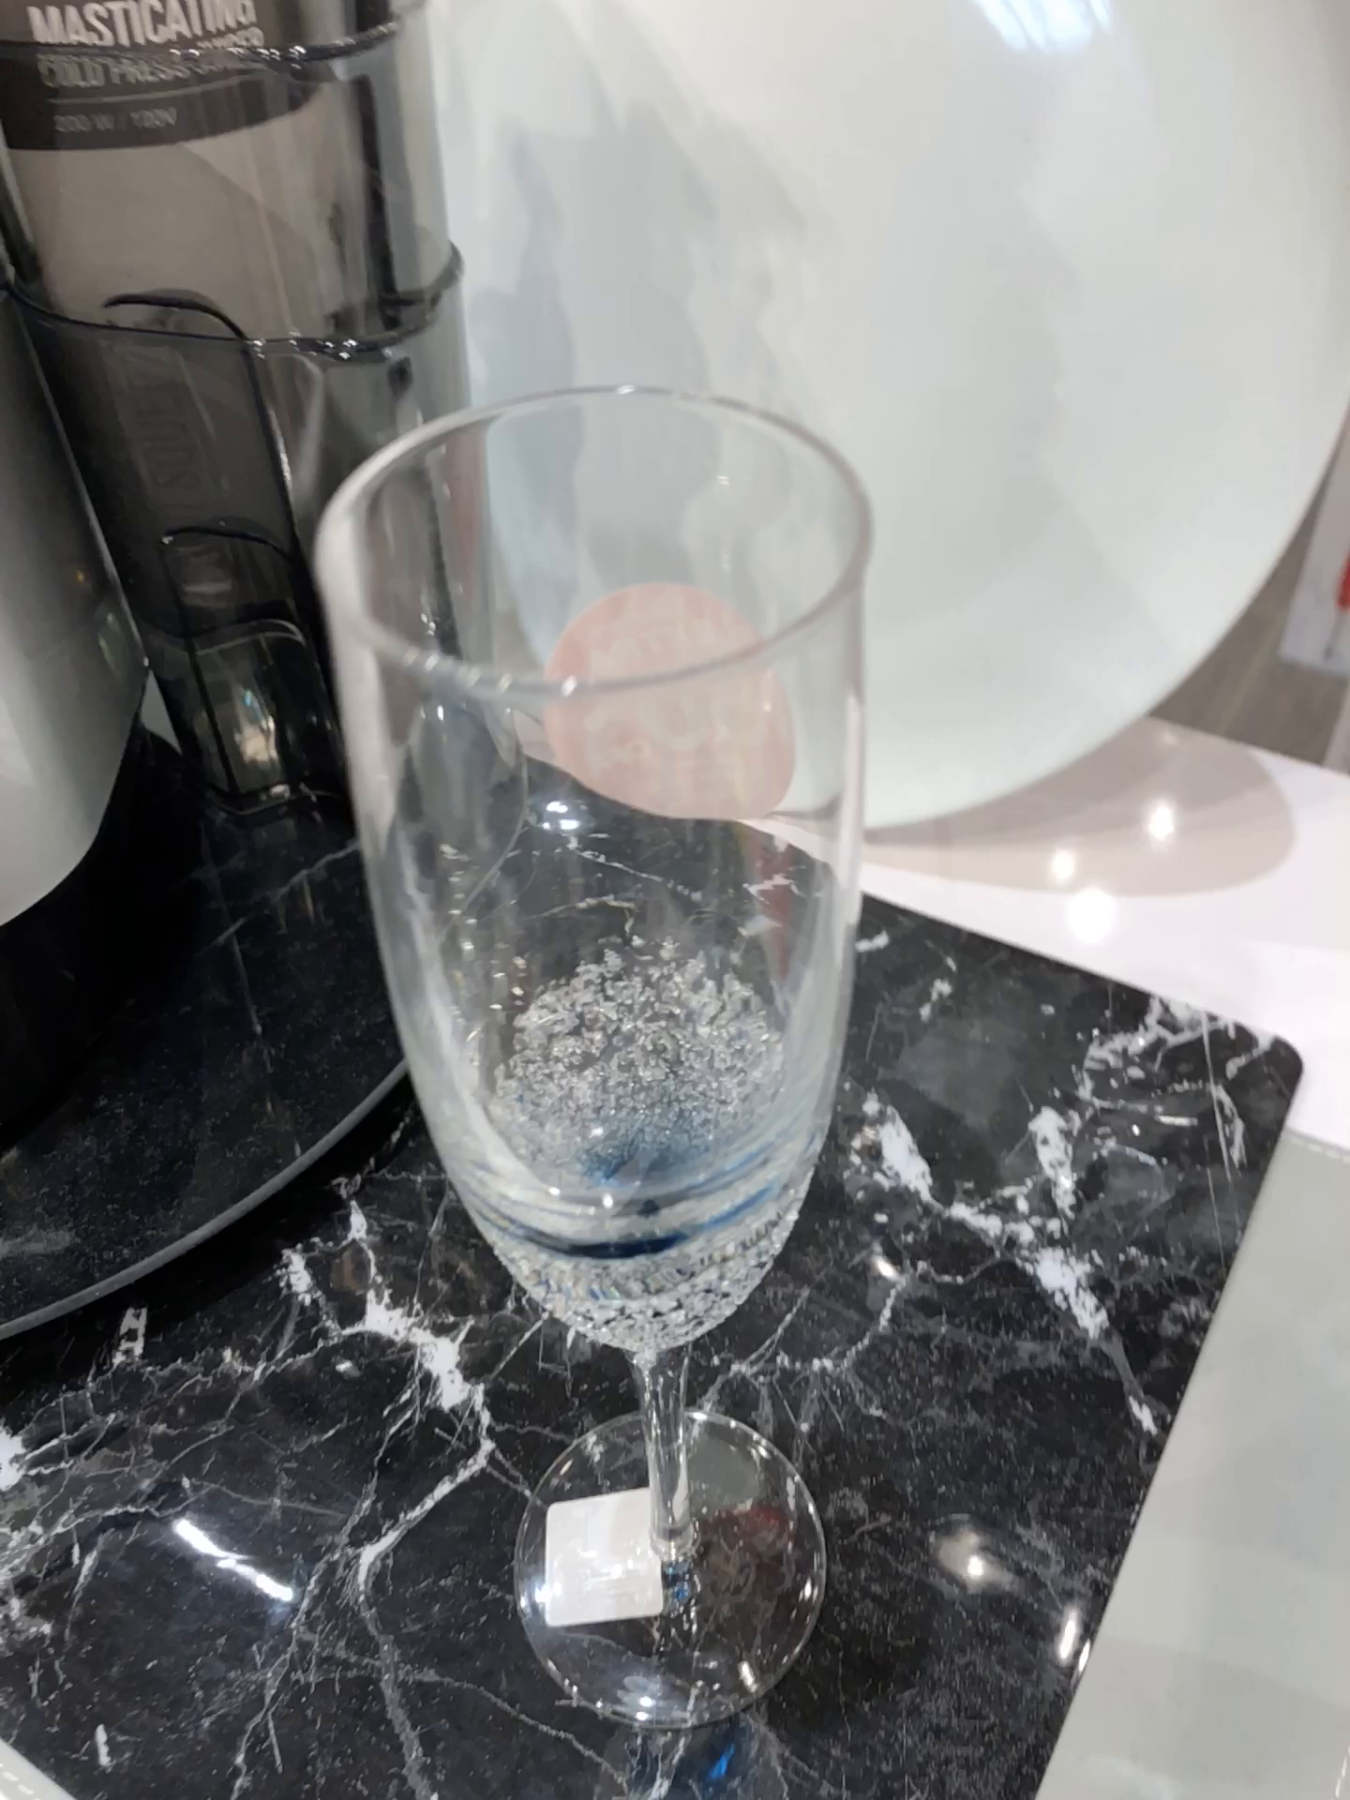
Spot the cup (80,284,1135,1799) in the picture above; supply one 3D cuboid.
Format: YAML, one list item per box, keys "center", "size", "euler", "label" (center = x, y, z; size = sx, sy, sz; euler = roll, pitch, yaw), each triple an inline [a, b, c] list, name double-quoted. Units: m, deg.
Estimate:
- center: [-0.003, 0.051, 0.229]
  size: [0.070, 0.249, 0.070]
  euler: [-1, 45, 1]
  label: "cup"
